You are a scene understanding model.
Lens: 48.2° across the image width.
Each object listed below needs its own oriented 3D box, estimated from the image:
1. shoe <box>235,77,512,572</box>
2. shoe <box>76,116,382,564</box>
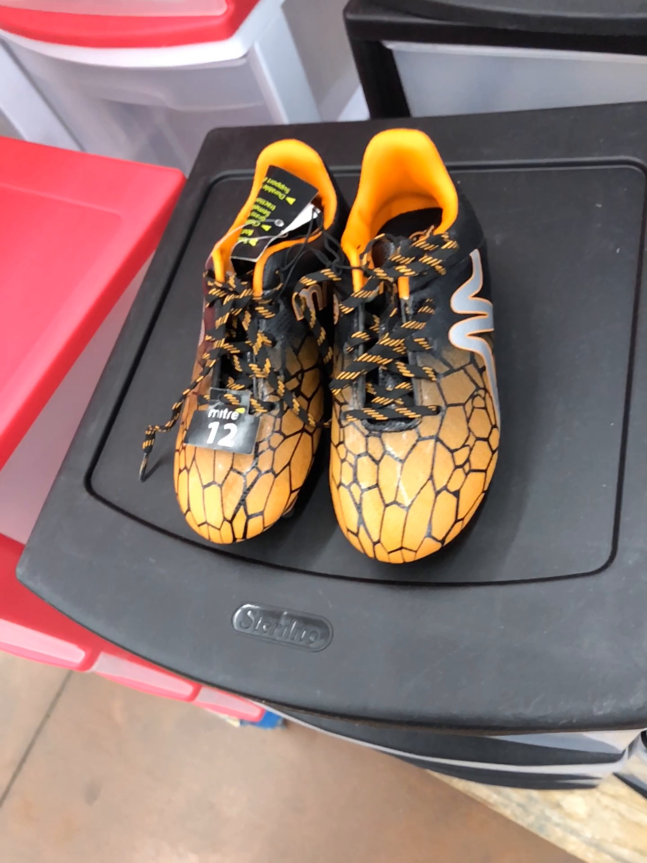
[{"bbox_3d":[0.033,-0.049,0.315,0.080,0.070,0.200,1,63,20],"label":"shoe"},{"bbox_3d":[-0.034,-0.047,0.357,0.080,0.080,0.200,2,64,20],"label":"shoe"}]
